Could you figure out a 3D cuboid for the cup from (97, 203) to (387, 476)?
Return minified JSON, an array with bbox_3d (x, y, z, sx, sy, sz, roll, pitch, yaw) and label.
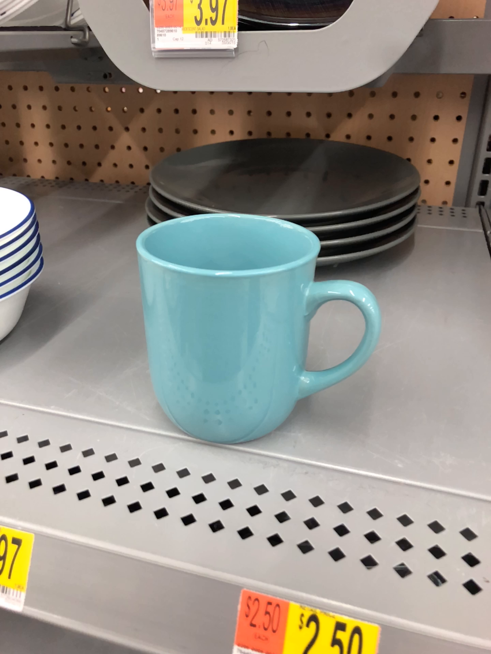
[{"bbox_3d":[0.006,-0.001,0.273,0.114,0.091,0.091,7,29,13],"label":"cup"}]
